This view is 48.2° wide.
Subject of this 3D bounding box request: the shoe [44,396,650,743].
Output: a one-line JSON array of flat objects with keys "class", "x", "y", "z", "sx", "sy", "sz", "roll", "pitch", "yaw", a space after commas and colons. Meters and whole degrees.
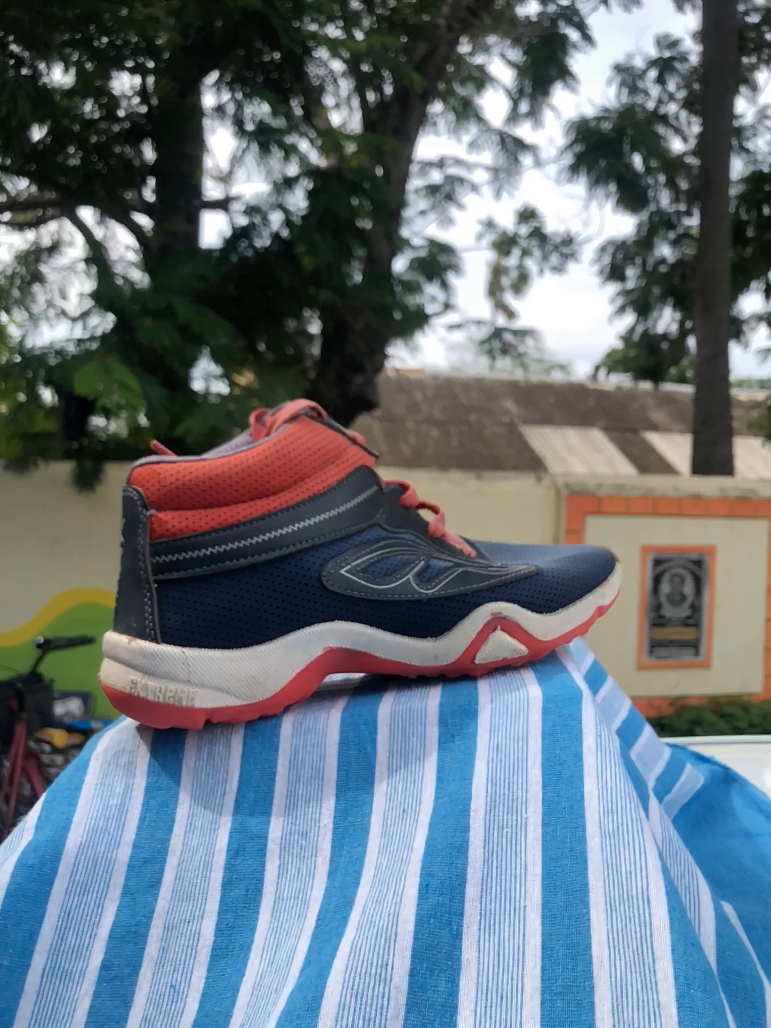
[{"class": "shoe", "x": -0.009, "y": 0.017, "z": 0.410, "sx": 0.271, "sy": 0.120, "sz": 0.100, "roll": 0, "pitch": 2, "yaw": -31}]
